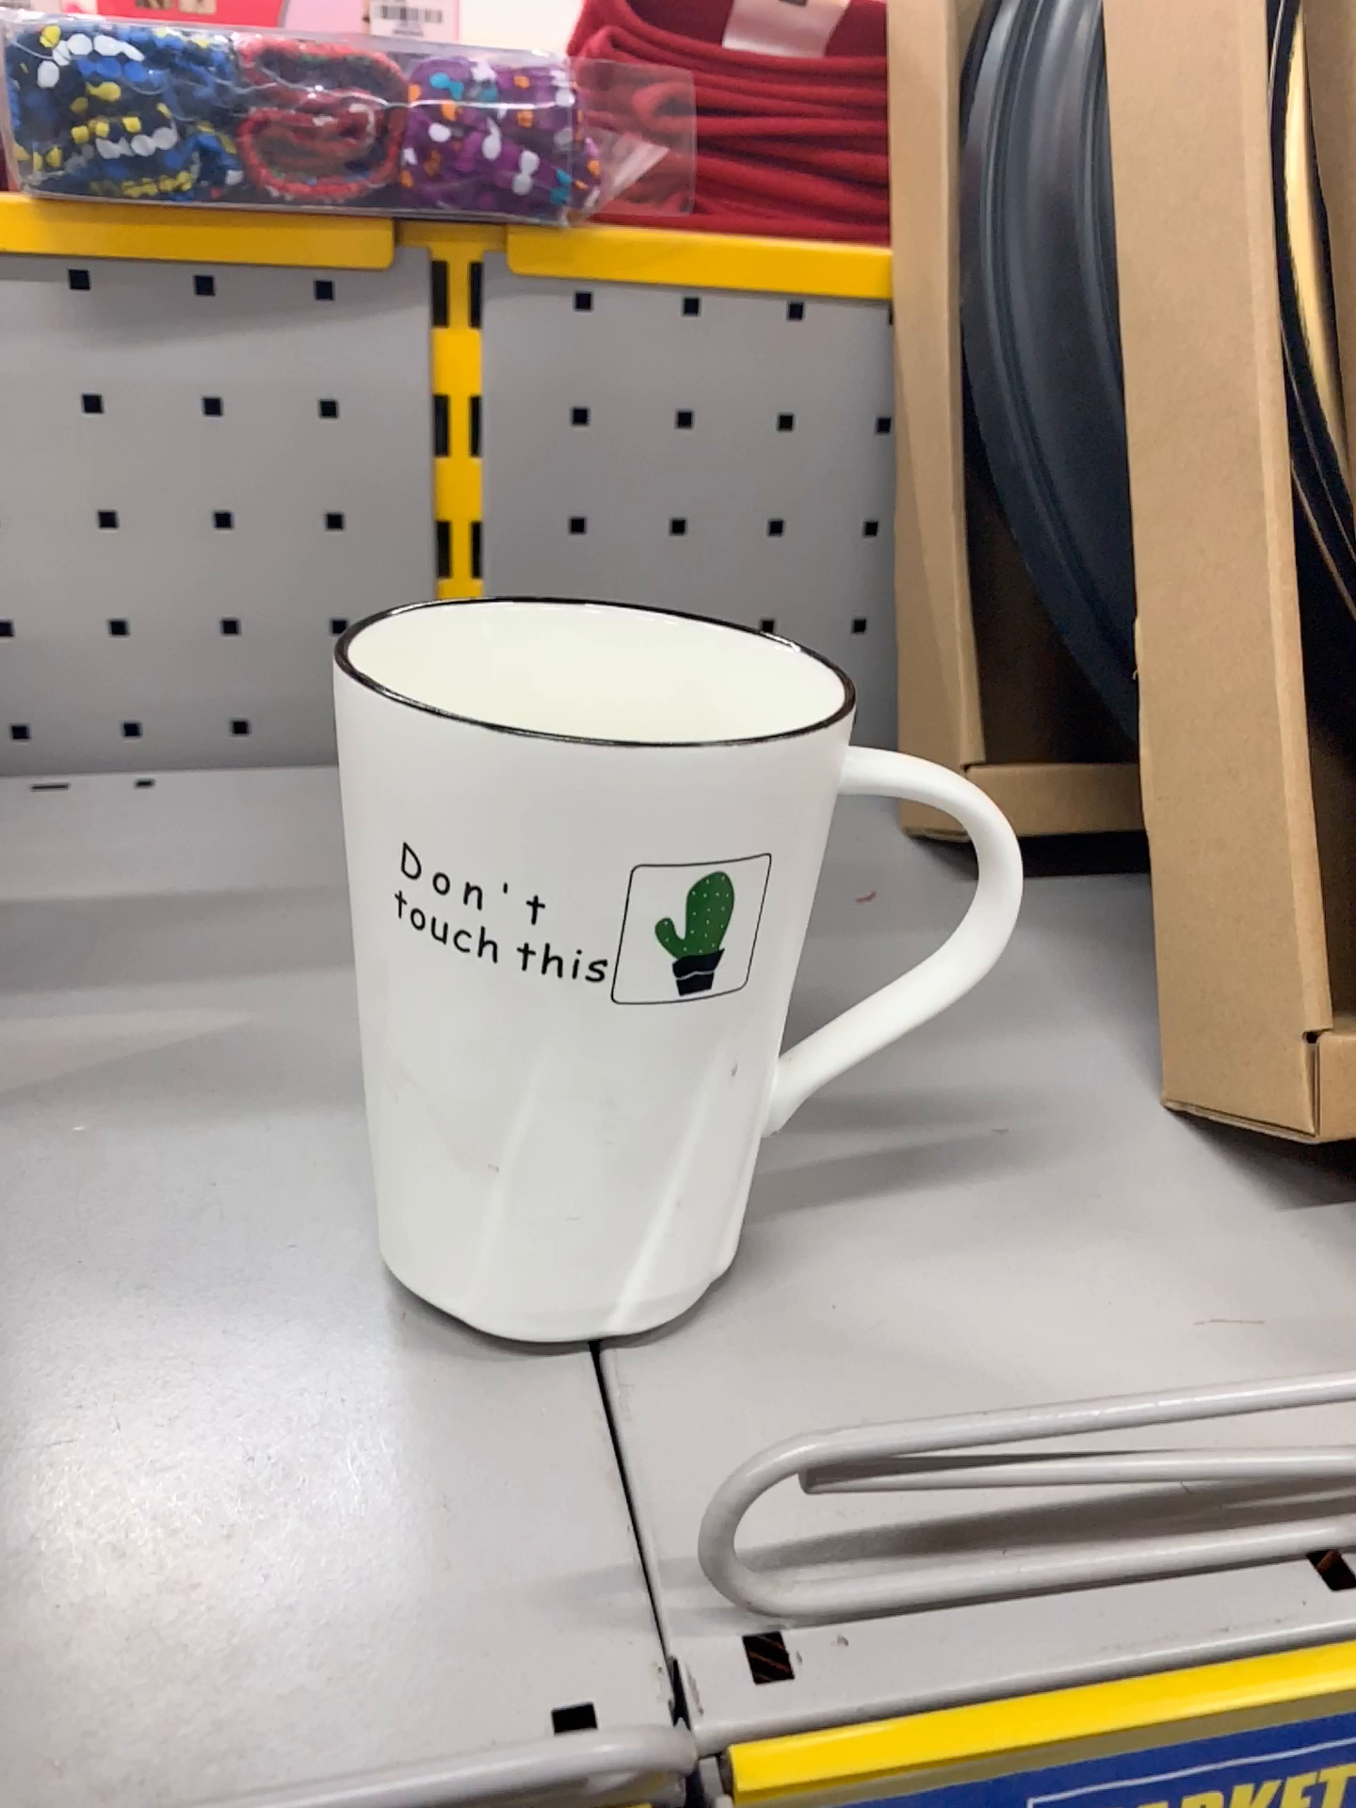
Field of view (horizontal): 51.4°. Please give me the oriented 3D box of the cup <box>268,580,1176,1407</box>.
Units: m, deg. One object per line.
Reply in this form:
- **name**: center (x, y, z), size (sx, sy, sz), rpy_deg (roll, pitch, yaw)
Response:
- **cup**: center (-0.001, 0.011, 0.264), size (0.130, 0.120, 0.090), rpy_deg (-1, 26, -9)
